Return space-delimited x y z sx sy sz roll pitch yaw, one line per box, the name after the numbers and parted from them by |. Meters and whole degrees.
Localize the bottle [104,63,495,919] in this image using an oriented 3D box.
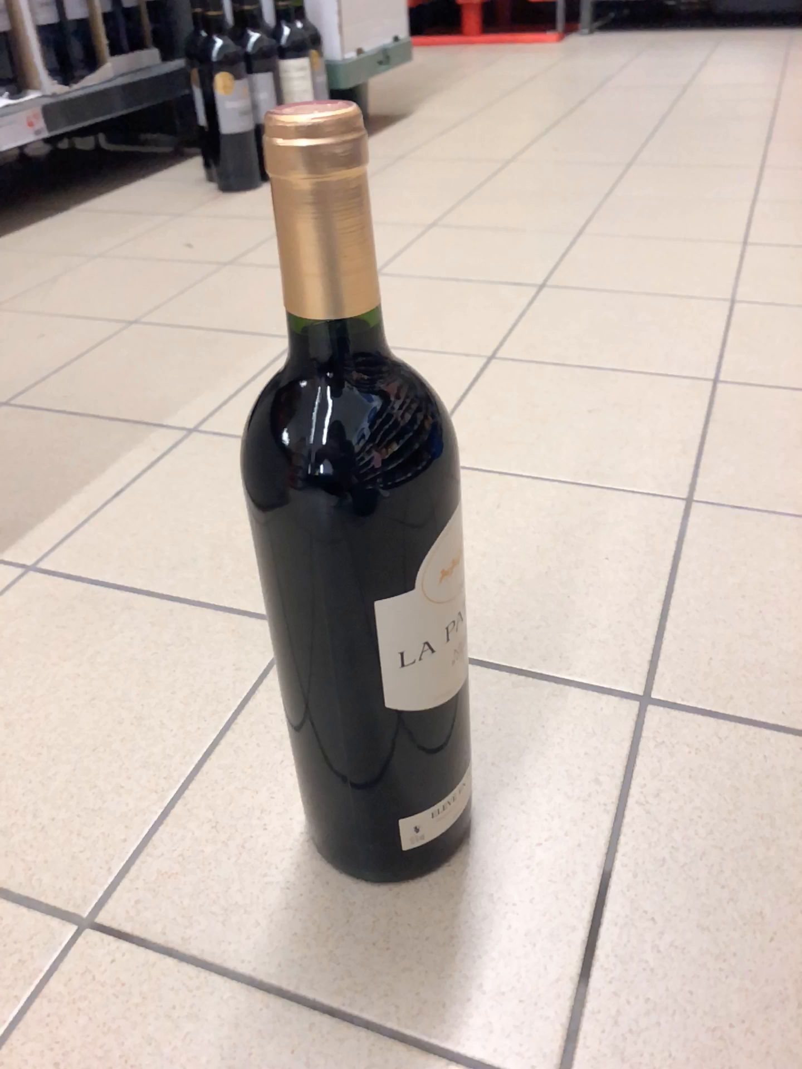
-0.012 0.003 0.312 0.080 0.288 0.091 3 34 11 | bottle
